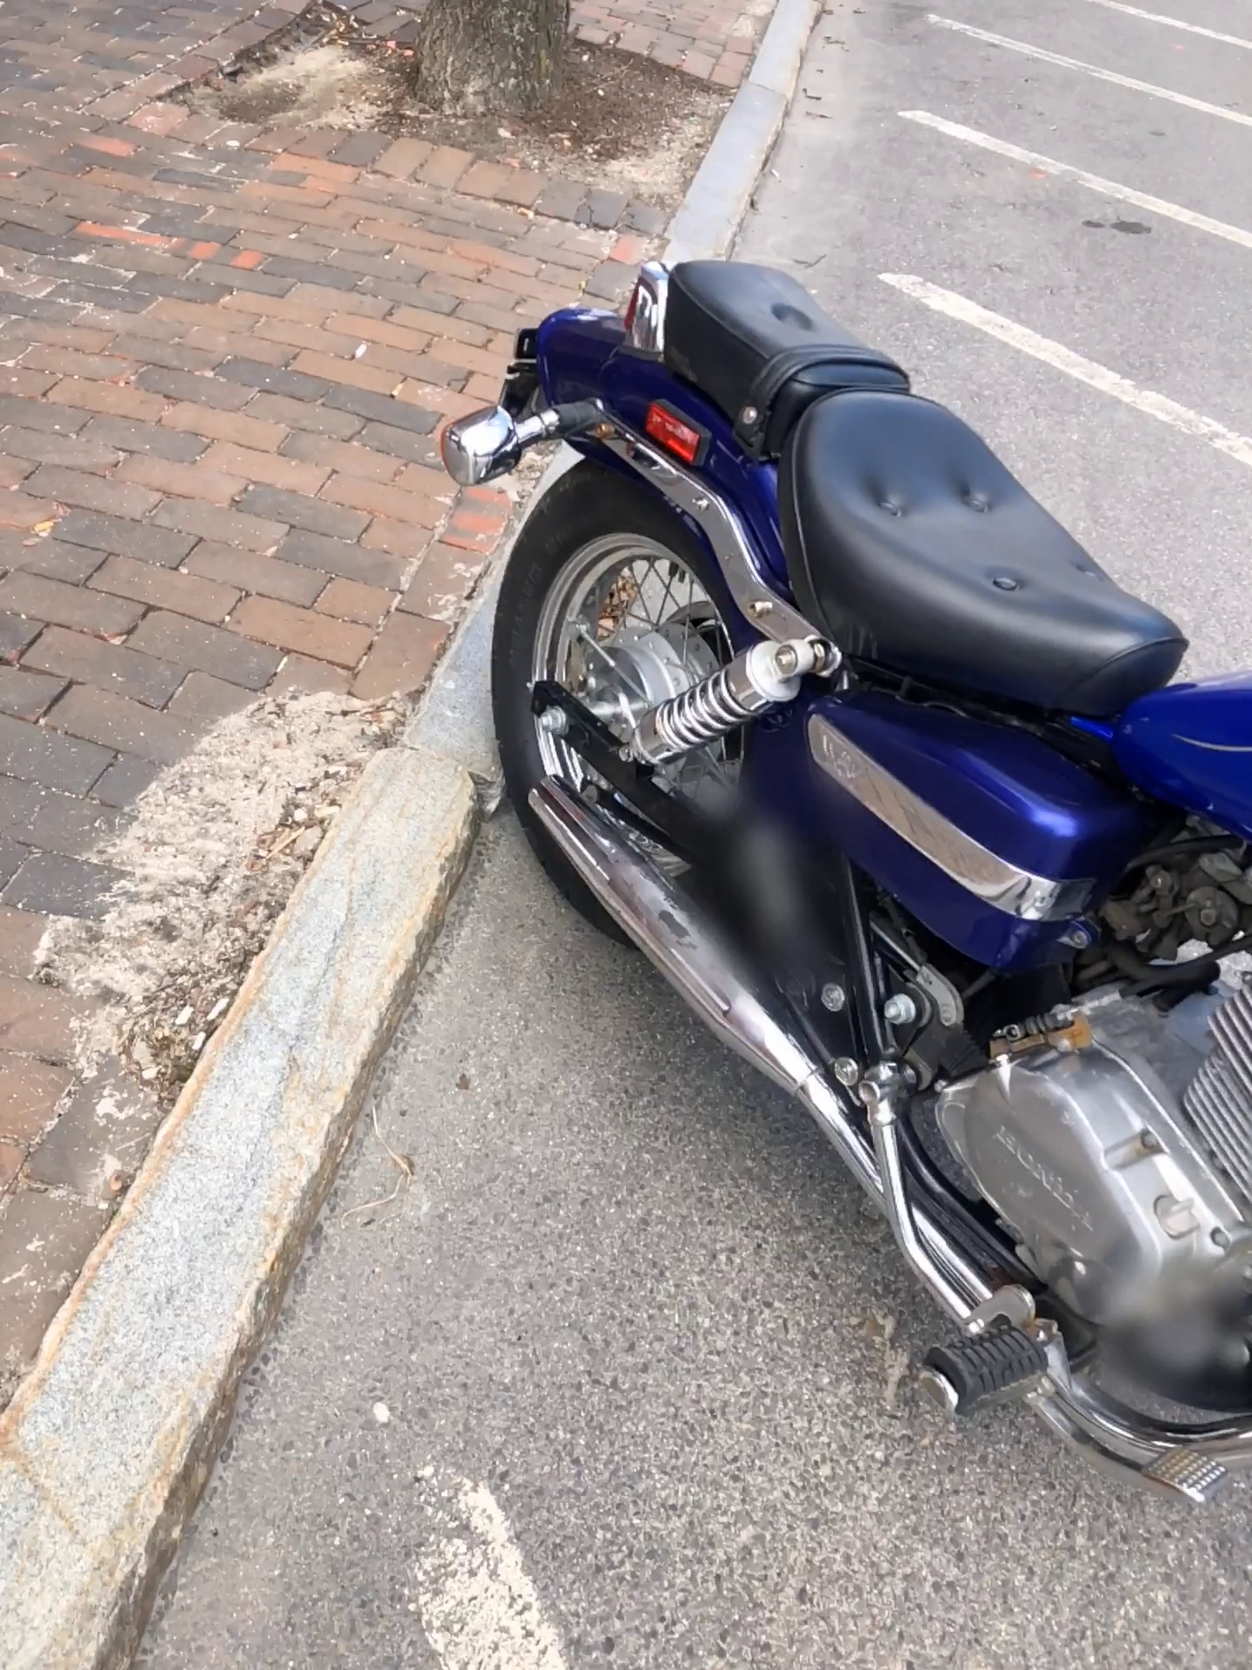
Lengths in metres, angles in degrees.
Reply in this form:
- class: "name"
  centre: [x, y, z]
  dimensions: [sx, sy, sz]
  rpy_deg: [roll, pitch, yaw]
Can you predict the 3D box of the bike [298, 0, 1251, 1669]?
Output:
- class: "bike"
  centre: [0.595, -0.028, 1.028]
  dimensions: [0.790, 1.036, 1.913]
  rpy_deg: [-22, 46, -31]
